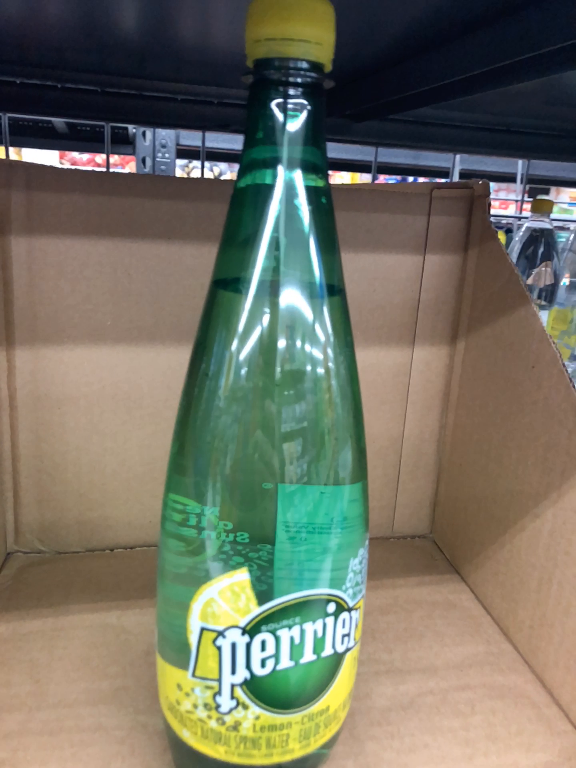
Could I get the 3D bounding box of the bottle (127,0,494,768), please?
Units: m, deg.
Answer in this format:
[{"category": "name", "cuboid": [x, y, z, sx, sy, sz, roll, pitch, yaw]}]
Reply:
[{"category": "bottle", "cuboid": [-0.009, 0.014, 0.253, 0.100, 0.318, 0.080, -2, 17, -18]}]
